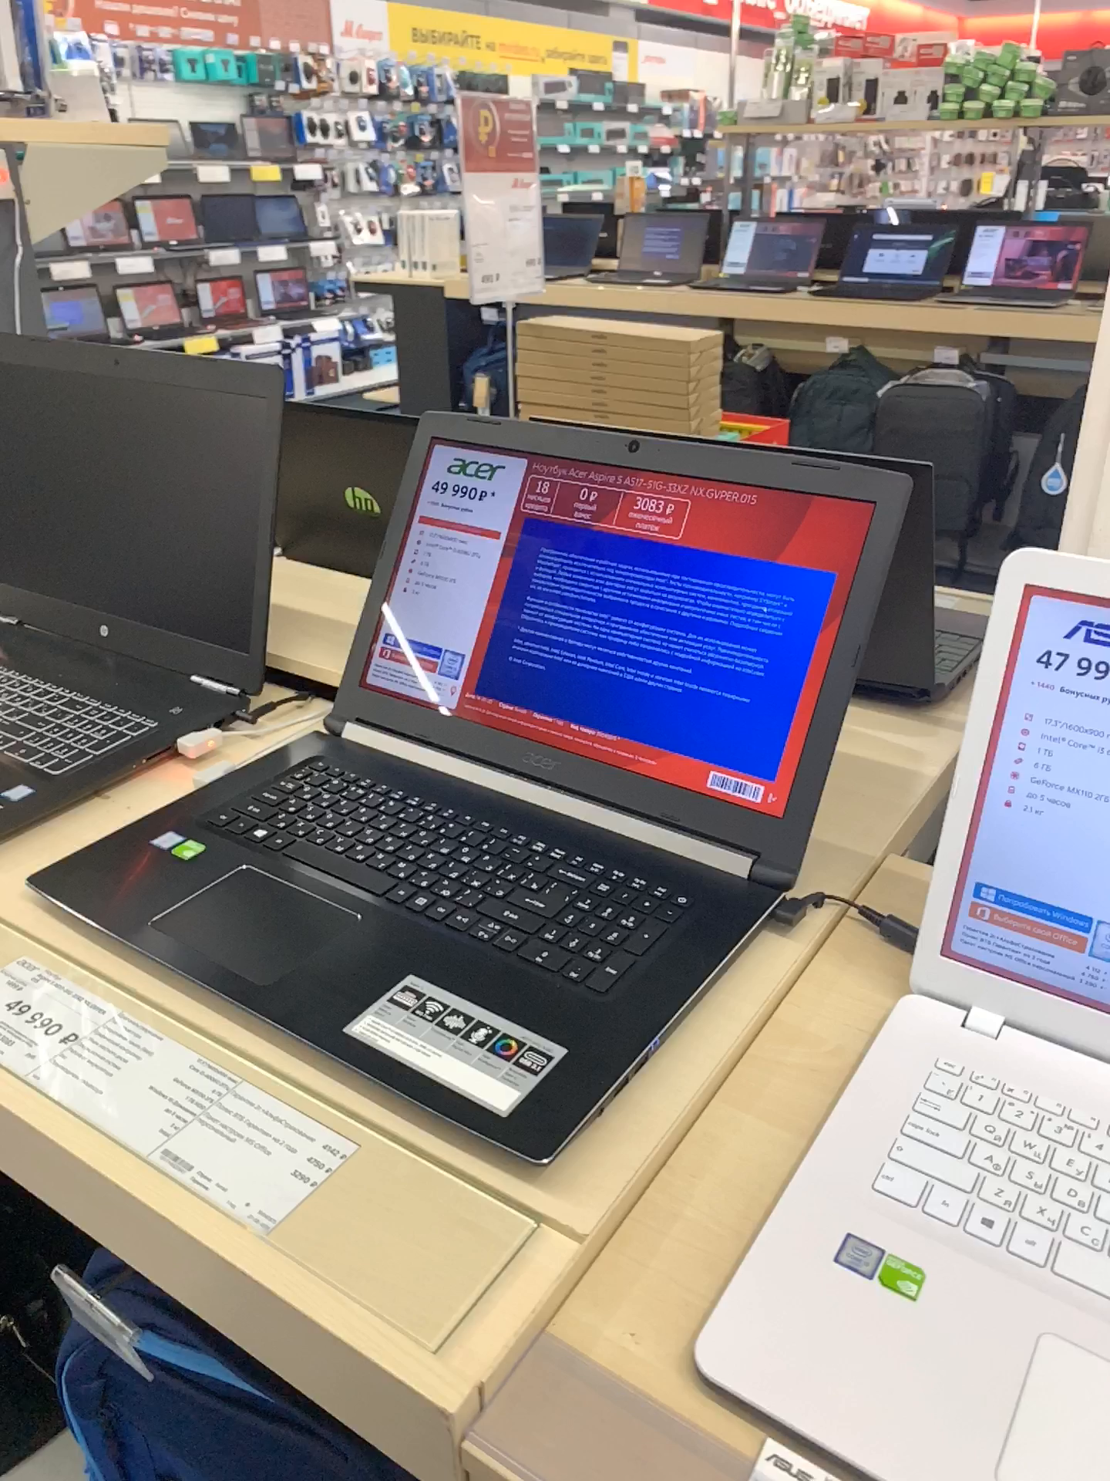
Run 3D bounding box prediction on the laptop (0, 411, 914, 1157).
[{"bbox_3d":[-0.058,-0.040,0.753,0.421,0.235,0.421,17,32,31],"label":"laptop"}]
